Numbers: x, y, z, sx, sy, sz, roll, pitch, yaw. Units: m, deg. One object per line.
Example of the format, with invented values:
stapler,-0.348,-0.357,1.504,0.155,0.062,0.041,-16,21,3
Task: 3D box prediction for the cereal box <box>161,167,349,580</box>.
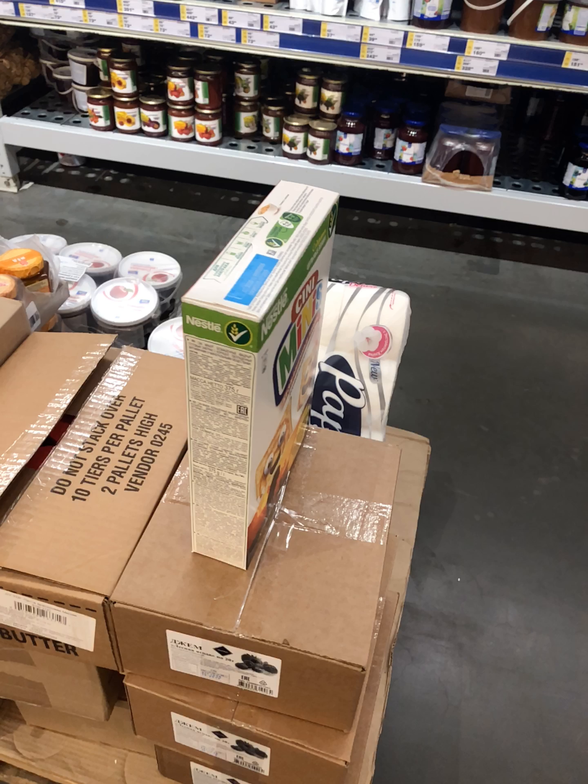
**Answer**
cereal box,-0.027,-0.010,0.542,0.060,0.278,0.201,16,44,11
